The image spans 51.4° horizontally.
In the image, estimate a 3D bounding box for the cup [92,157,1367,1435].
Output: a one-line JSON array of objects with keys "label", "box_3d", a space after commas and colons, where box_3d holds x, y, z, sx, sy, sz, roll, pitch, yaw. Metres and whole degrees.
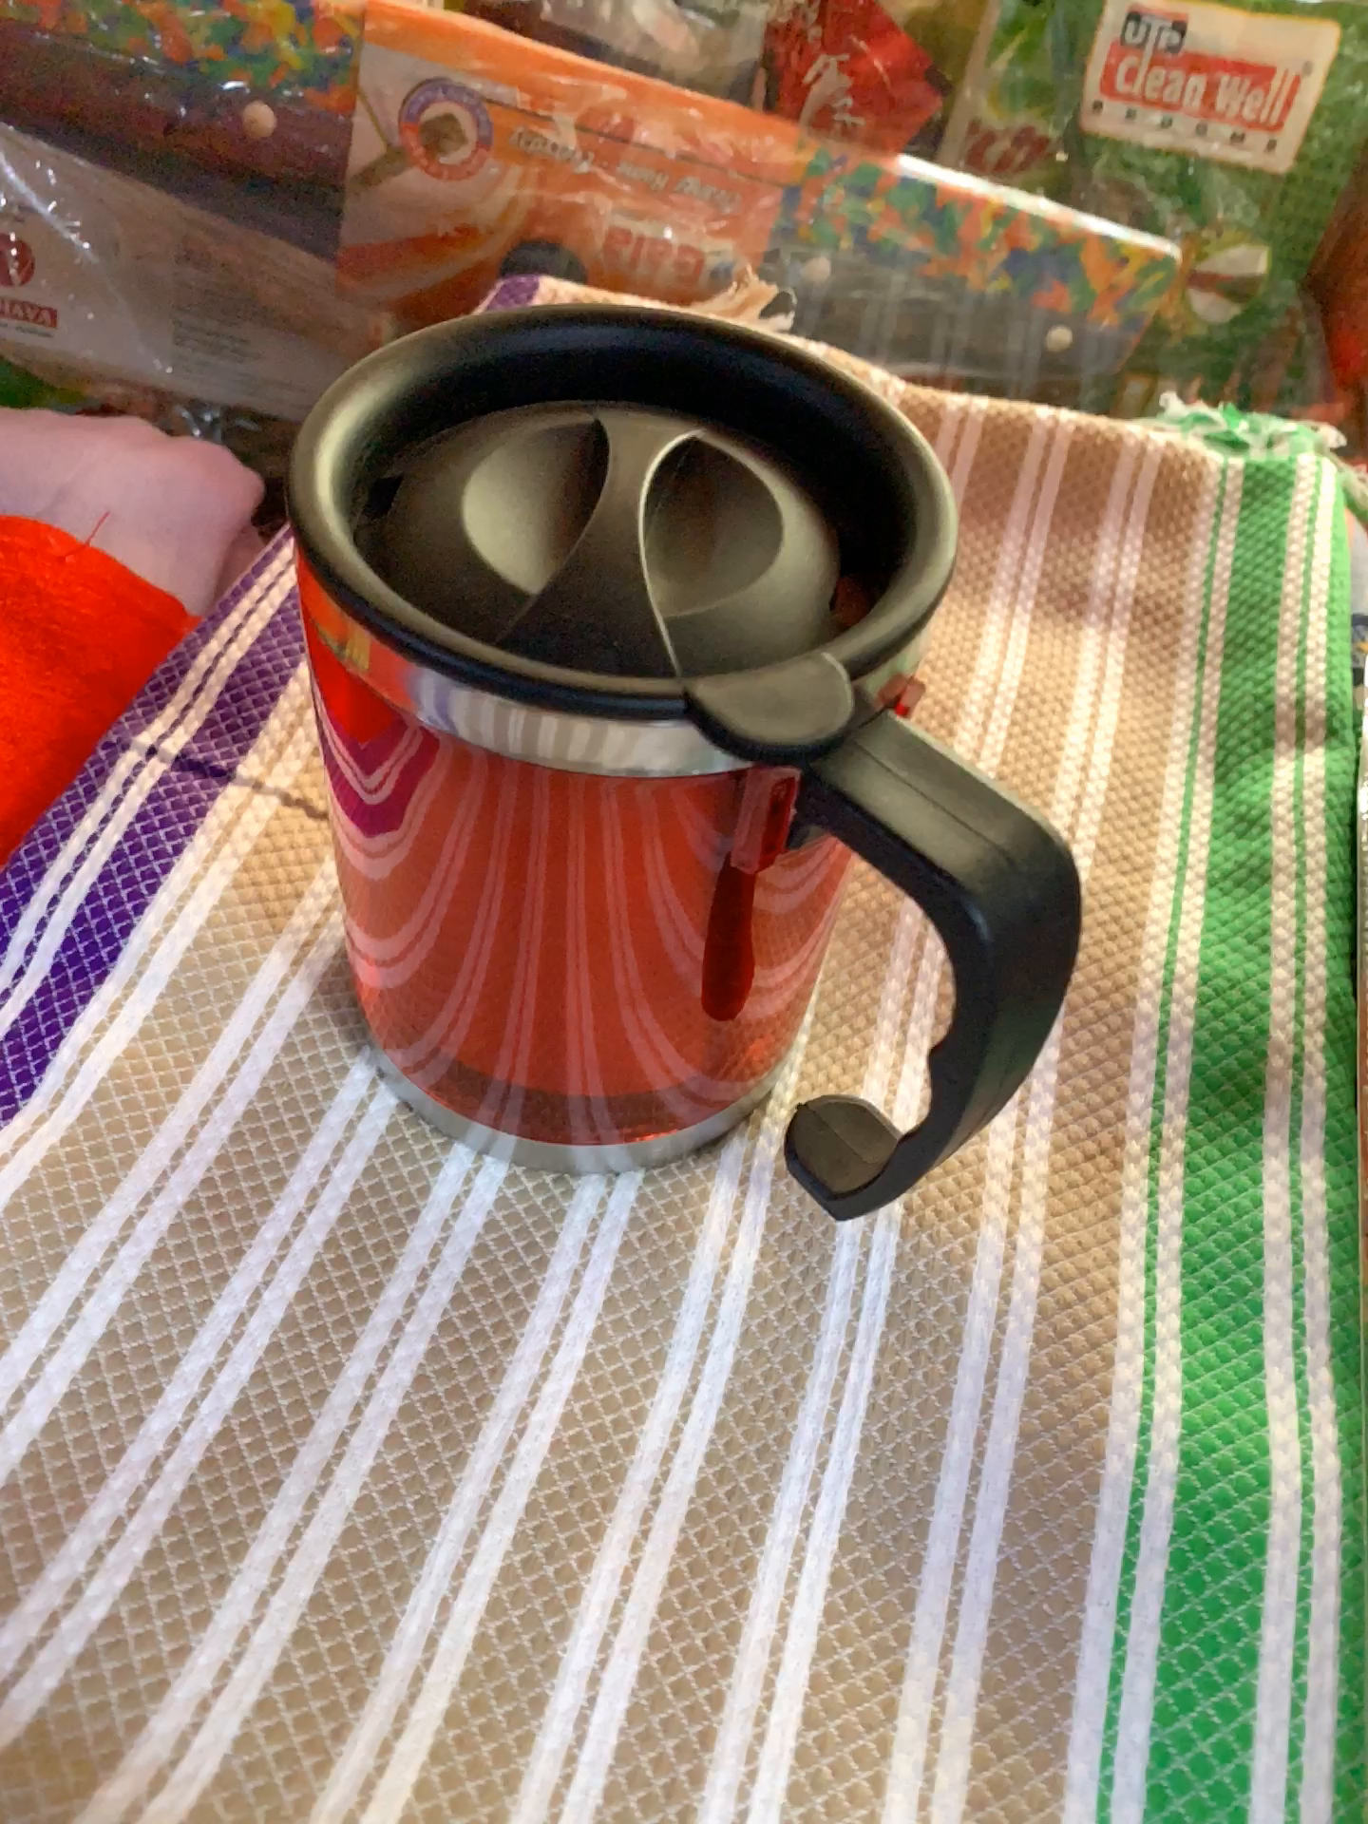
[{"label": "cup", "box_3d": [0.003, -0.023, 0.210, 0.130, 0.103, 0.100, 40, 55, 23]}]
